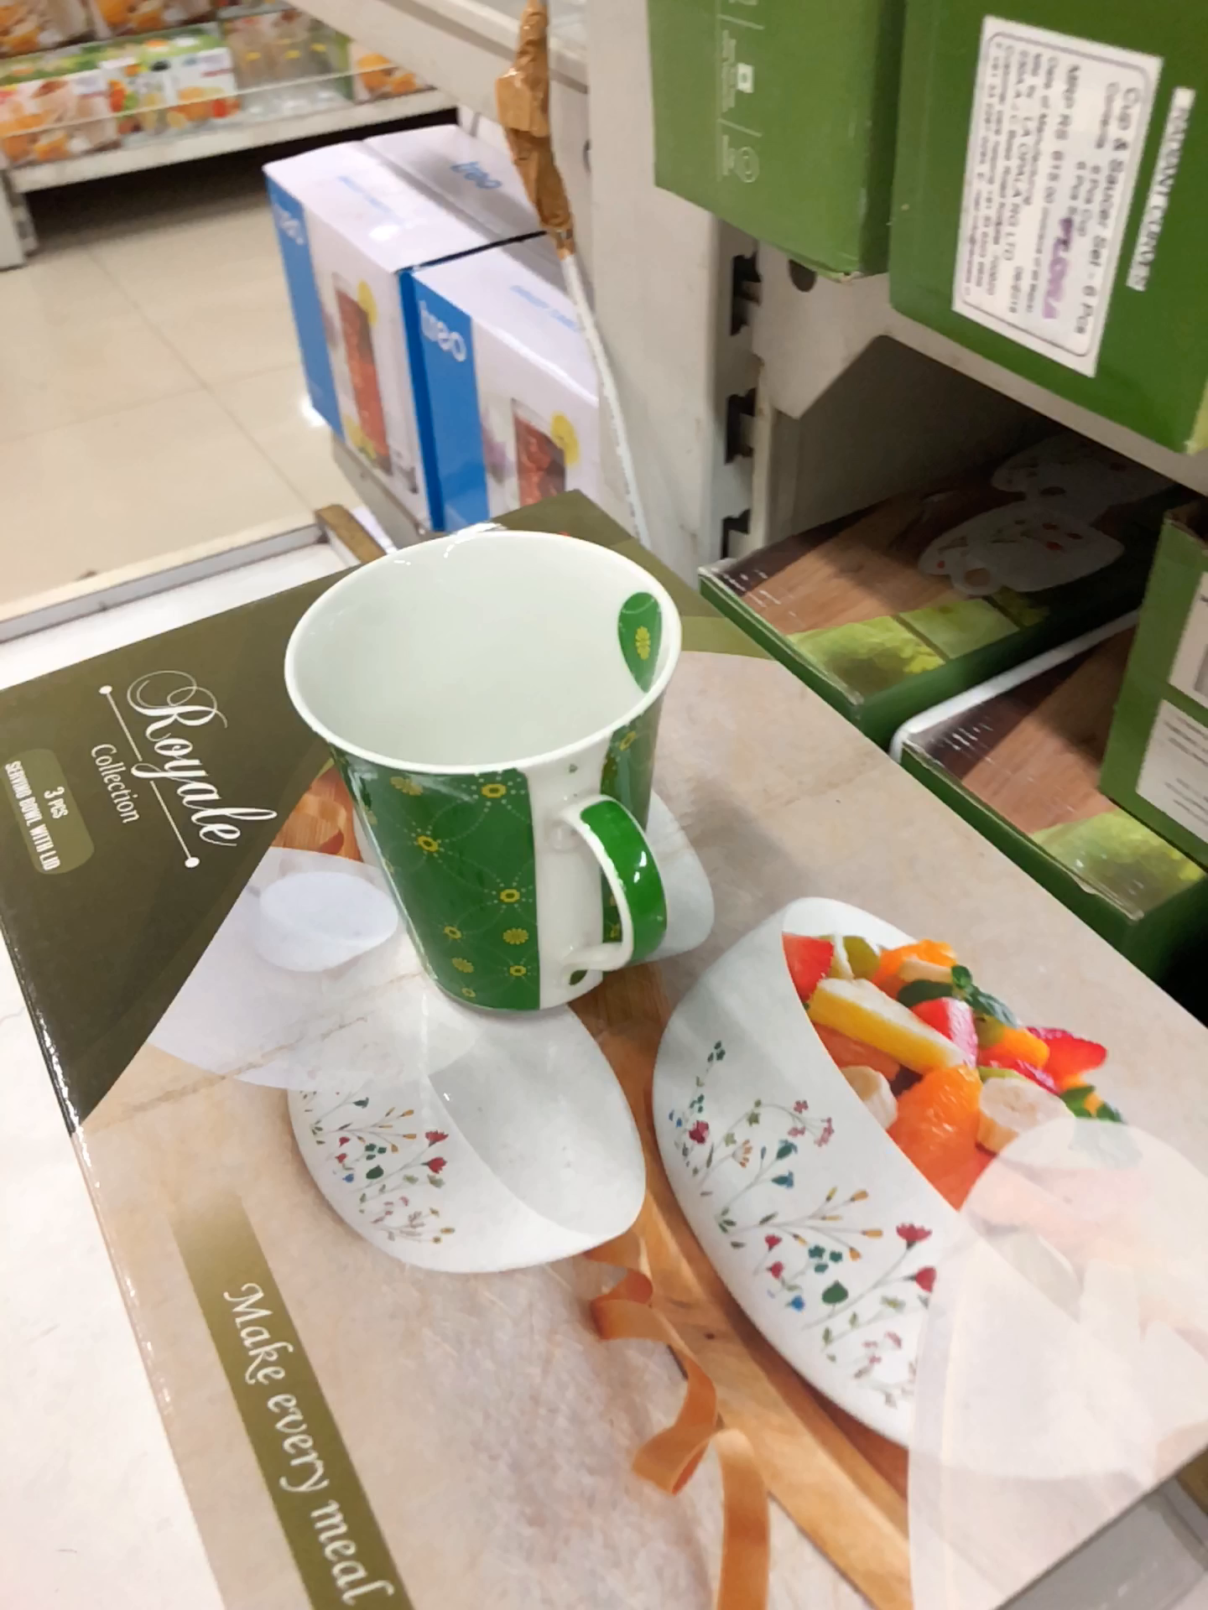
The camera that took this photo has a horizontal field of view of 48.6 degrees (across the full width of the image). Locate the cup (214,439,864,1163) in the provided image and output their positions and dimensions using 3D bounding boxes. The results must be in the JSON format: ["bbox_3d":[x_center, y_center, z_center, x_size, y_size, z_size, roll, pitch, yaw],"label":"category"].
[{"bbox_3d":[-0.016,-0.007,0.299,0.090,0.089,0.110,-22,46,-20],"label":"cup"}]
